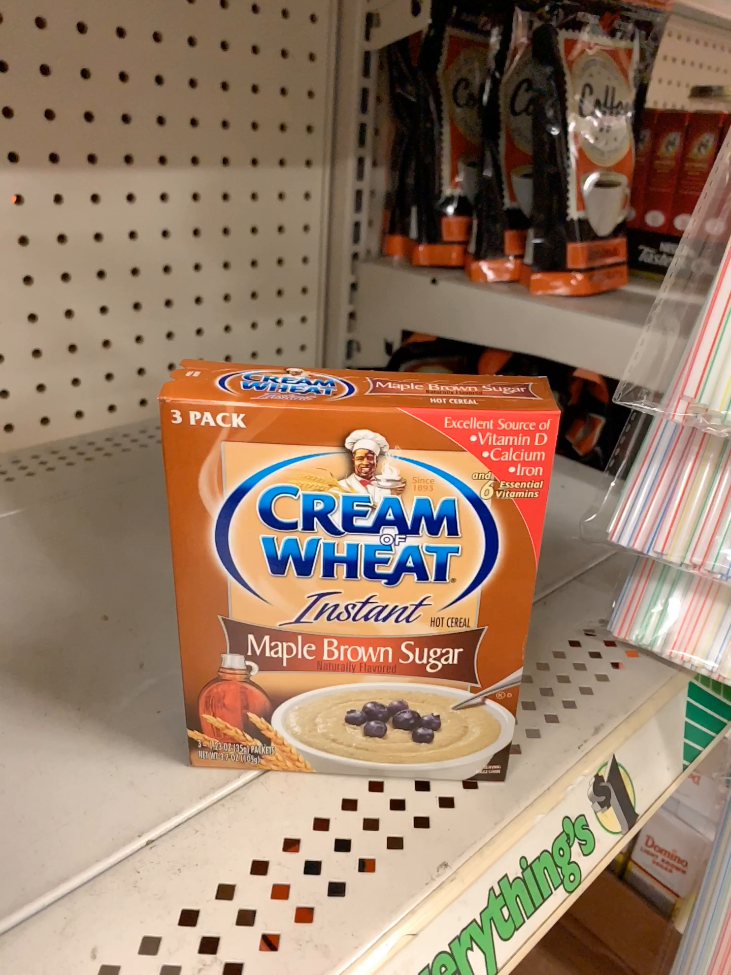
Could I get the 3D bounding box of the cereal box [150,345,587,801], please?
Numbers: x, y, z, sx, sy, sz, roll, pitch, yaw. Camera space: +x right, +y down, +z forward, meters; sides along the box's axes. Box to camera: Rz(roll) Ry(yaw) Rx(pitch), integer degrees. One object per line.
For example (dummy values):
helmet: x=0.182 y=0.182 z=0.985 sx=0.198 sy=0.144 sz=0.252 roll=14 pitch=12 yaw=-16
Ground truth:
cereal box: x=-0.003 y=0.034 z=0.259 sx=0.120 sy=0.149 sz=0.040 roll=3 pitch=26 yaw=-1
